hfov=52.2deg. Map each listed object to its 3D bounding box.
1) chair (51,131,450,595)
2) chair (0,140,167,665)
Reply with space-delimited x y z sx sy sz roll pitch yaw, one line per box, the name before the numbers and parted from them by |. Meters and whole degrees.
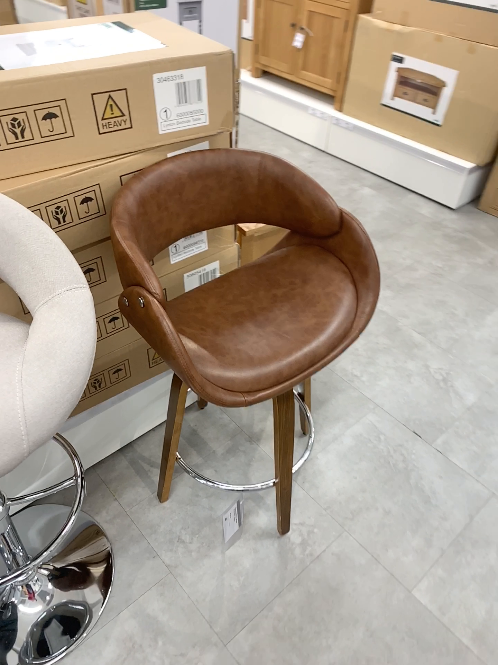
chair | -0.023 0.069 1.262 0.546 0.847 0.553 -28 50 -31
chair | -0.536 0.252 0.945 0.496 0.946 0.522 -31 52 -33
